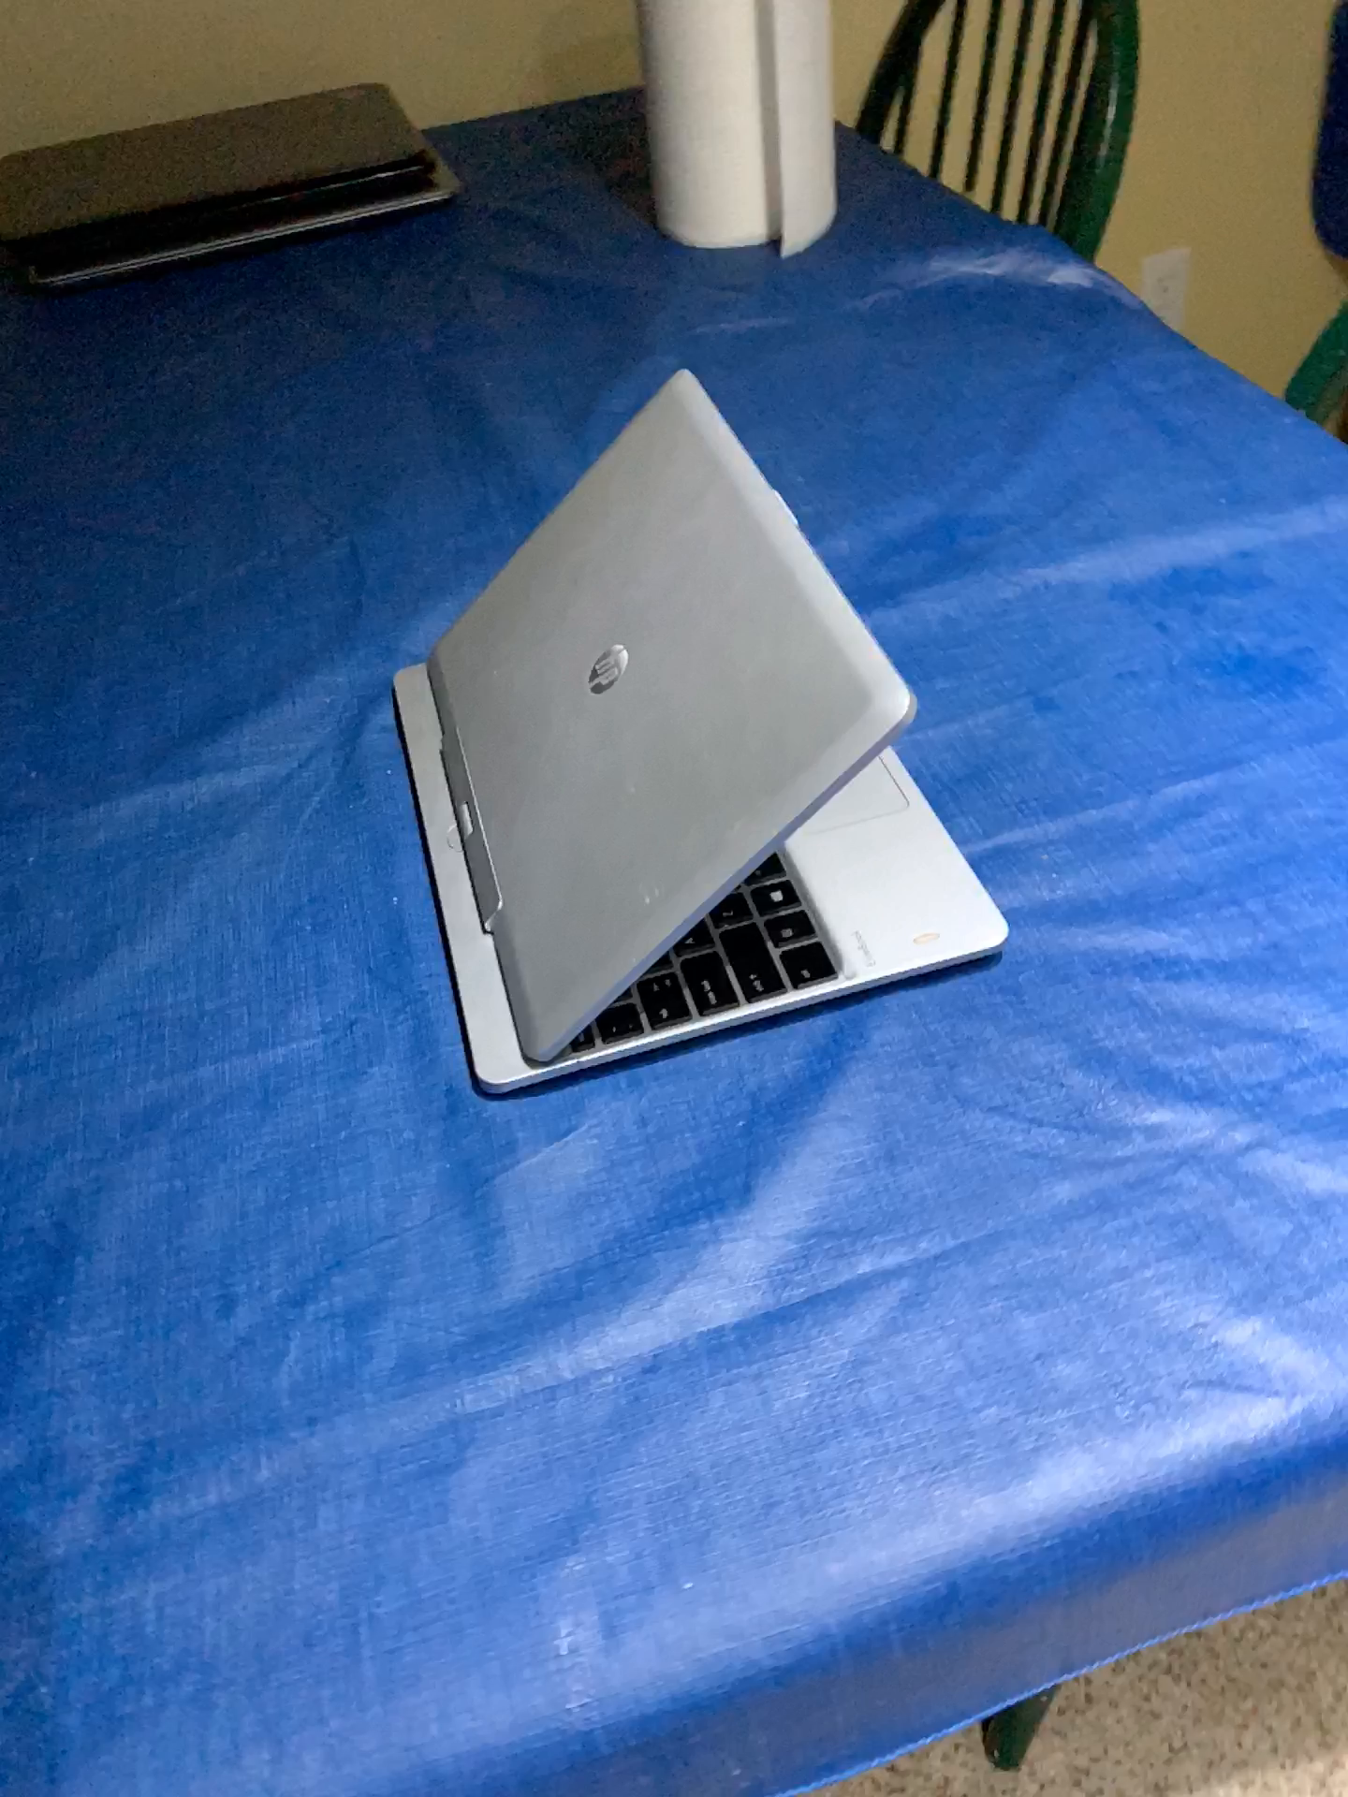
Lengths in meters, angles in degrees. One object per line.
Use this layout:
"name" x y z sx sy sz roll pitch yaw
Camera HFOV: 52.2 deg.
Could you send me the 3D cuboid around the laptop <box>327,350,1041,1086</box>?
"laptop" -0.013 -0.093 0.570 0.207 0.122 0.281 -15 44 -6
